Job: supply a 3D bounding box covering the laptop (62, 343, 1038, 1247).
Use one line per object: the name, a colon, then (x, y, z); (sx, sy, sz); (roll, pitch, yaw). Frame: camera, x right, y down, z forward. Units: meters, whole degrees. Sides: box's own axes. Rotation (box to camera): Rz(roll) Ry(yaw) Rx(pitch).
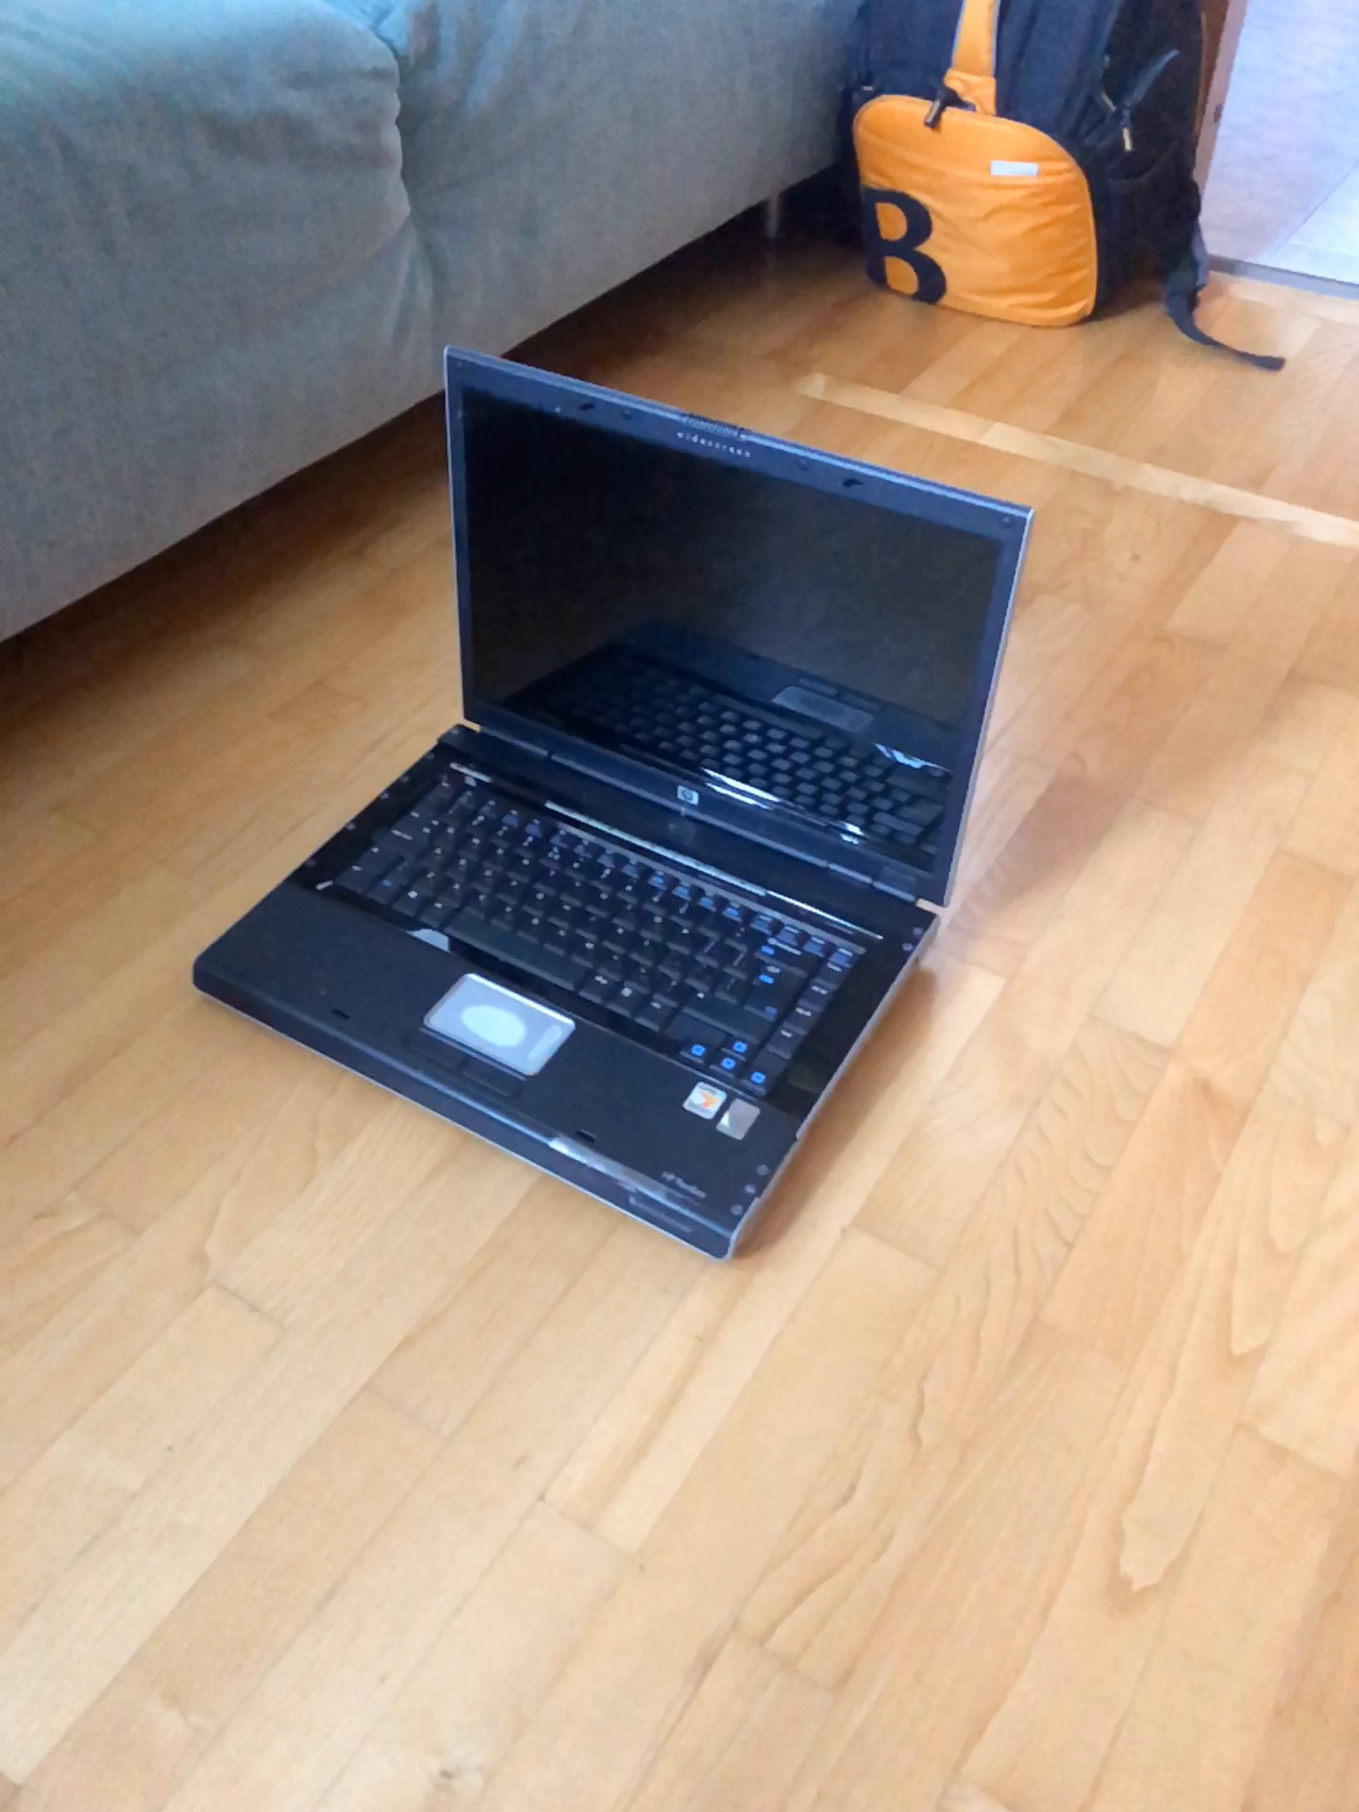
laptop: (-0.055, -0.082, 0.811); (0.363, 0.254, 0.307); (23, 49, 22)
